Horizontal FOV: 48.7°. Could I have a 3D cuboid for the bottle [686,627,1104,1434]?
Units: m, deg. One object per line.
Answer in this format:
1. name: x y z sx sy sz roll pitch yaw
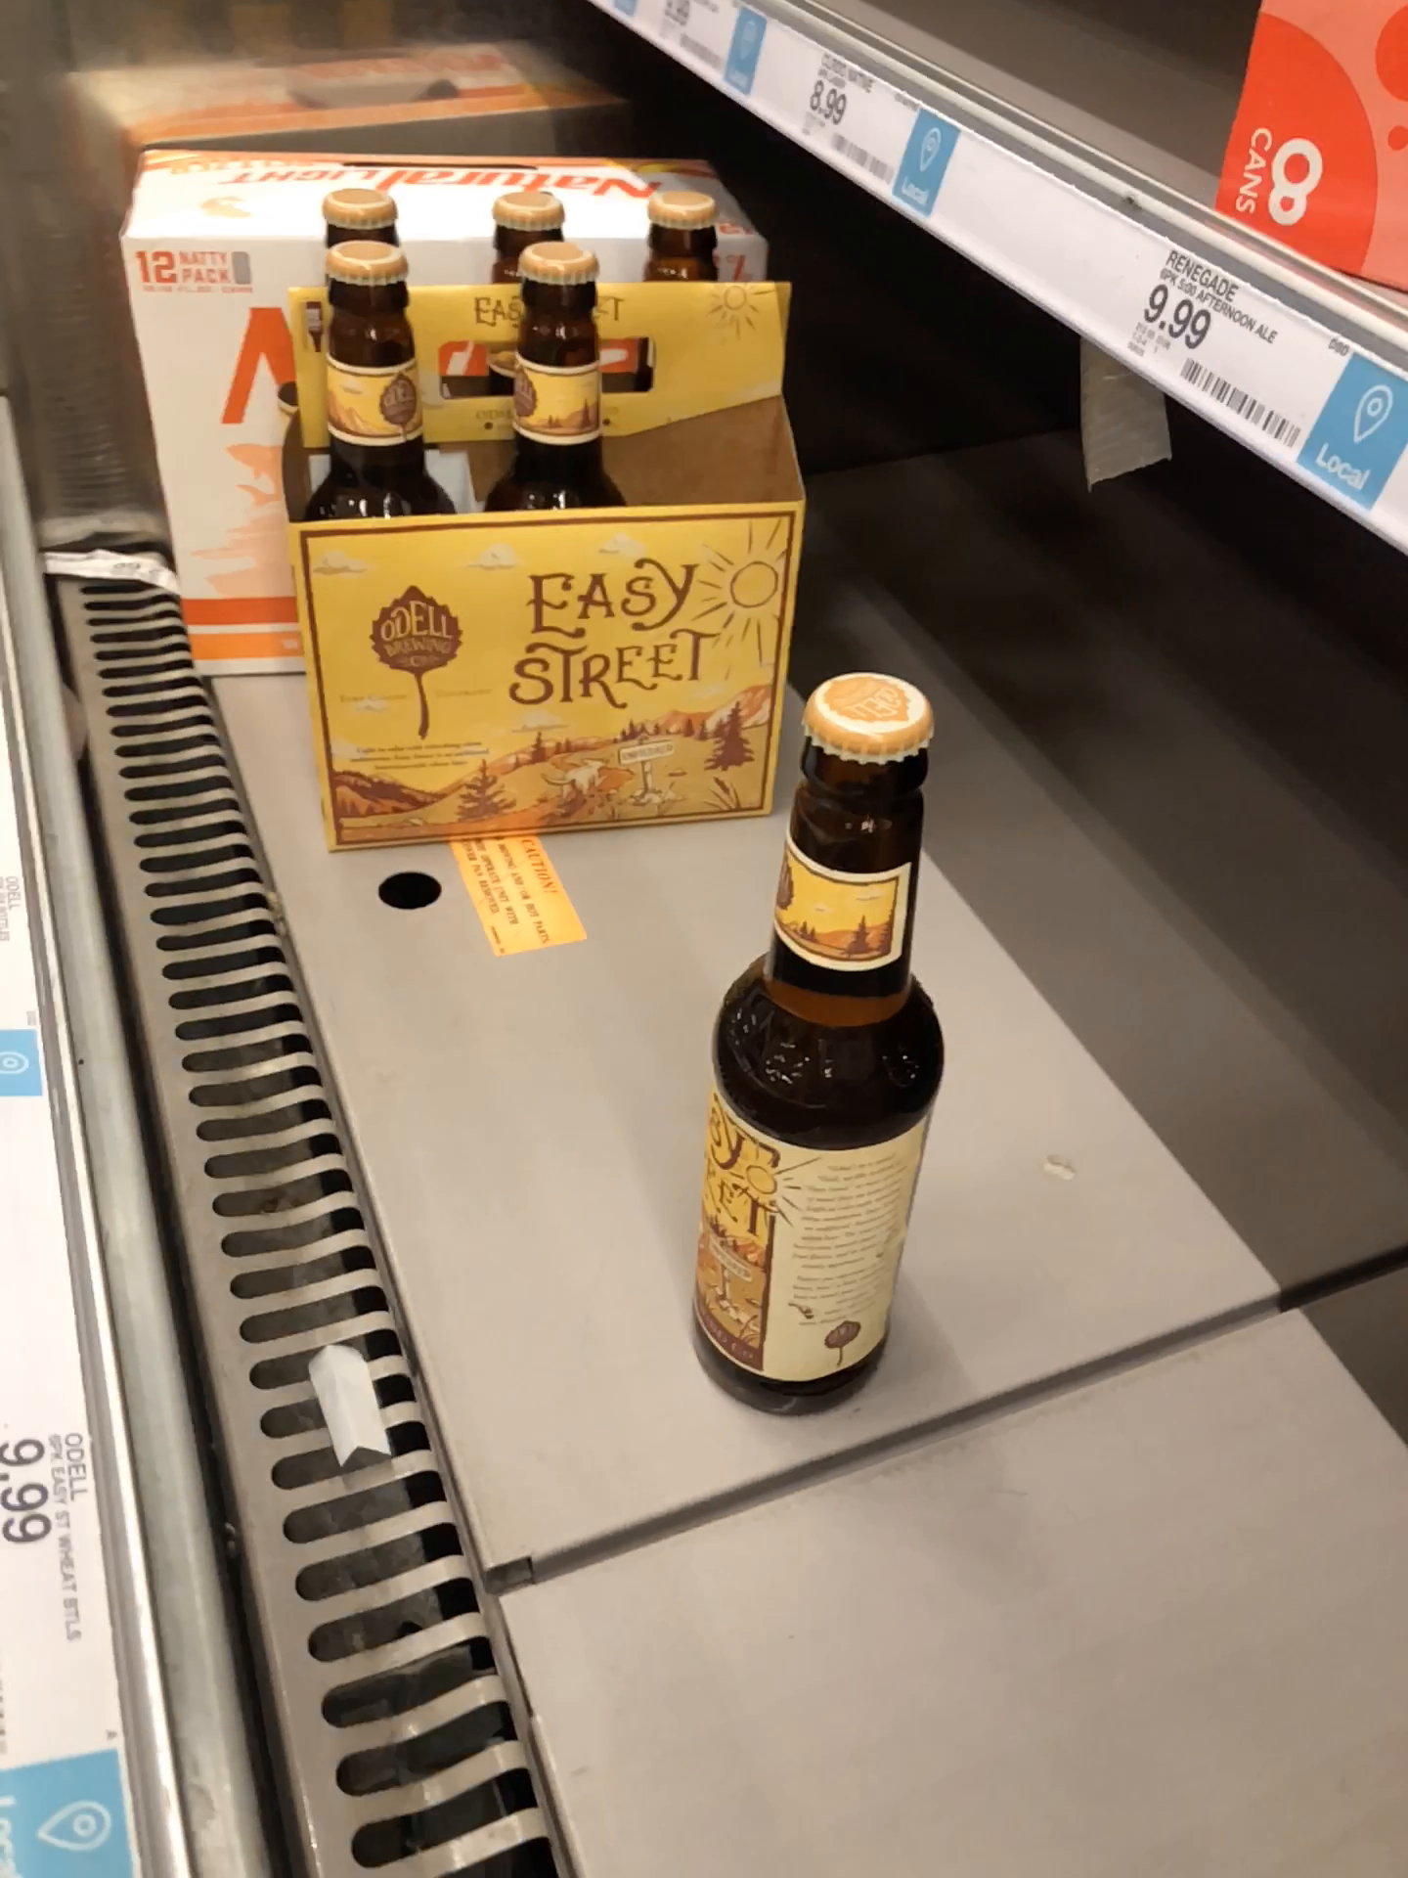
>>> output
1. bottle: 0.037 0.037 0.408 0.070 0.229 0.066 2 41 -2
